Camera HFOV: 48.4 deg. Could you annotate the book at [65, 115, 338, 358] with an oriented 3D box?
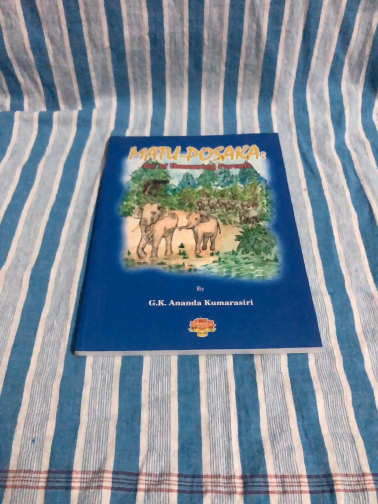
[{"bbox_3d":[0.008,-0.029,0.338,0.170,0.020,0.231,-1,54,2],"label":"book"}]
